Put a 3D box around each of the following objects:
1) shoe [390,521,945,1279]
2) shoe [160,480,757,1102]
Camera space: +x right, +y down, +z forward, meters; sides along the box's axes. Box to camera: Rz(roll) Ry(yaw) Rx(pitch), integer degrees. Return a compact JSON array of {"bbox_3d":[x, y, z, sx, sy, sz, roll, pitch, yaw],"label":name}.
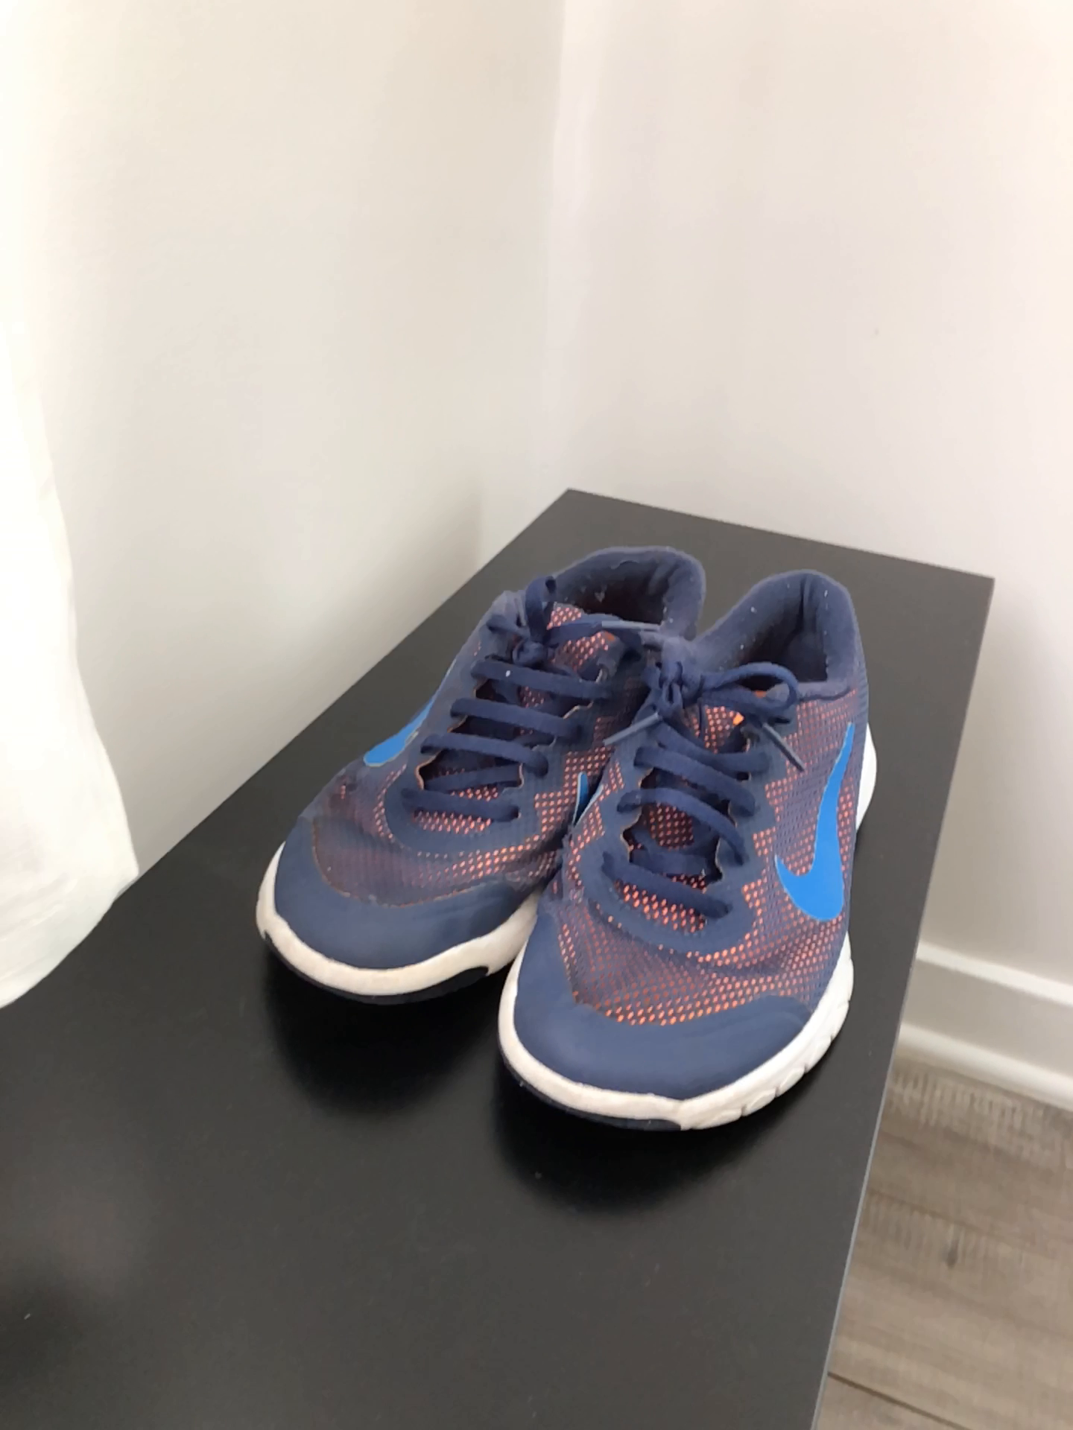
[{"bbox_3d":[0.060,0.032,0.405,0.120,0.089,0.261,13,33,14],"label":"shoe"},{"bbox_3d":[-0.009,0.004,0.447,0.100,0.089,0.261,17,34,20],"label":"shoe"}]
